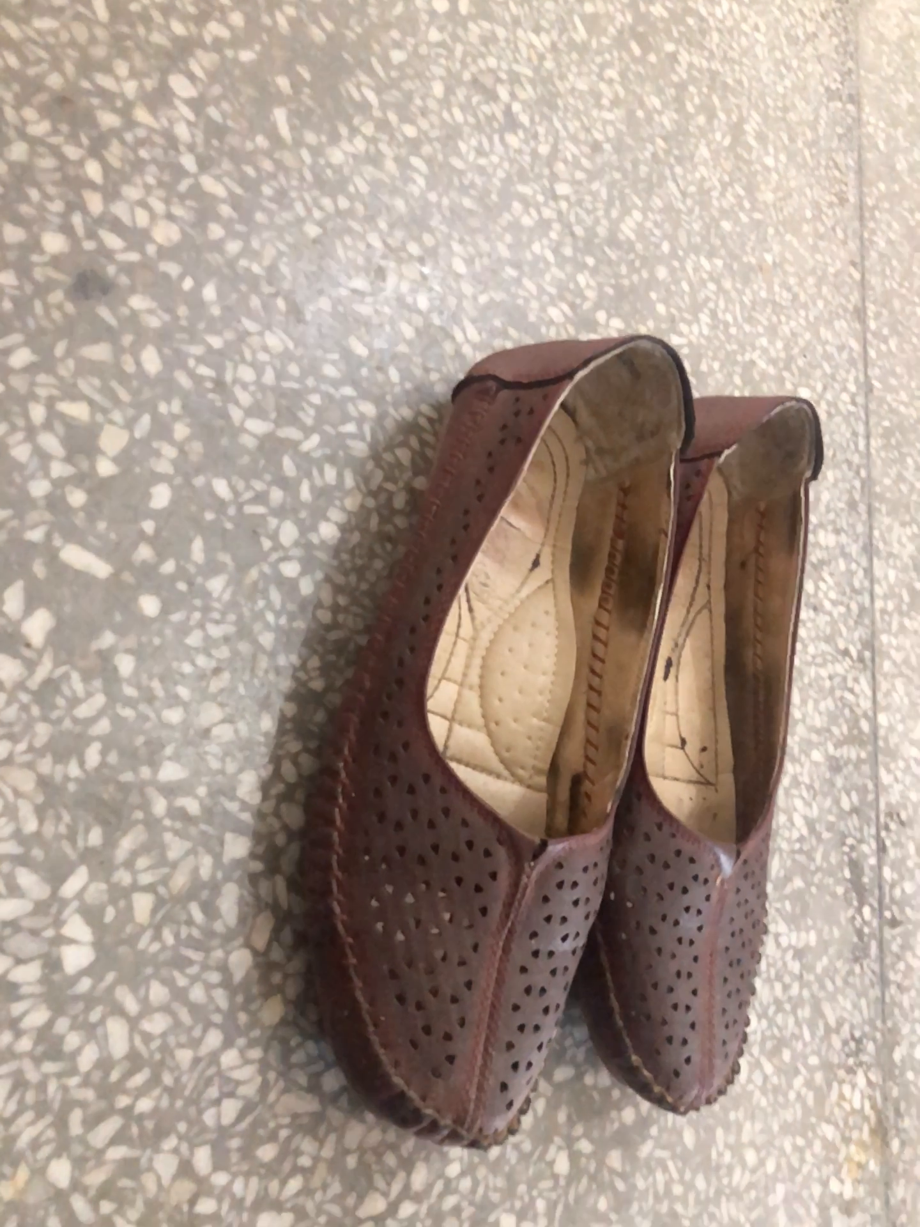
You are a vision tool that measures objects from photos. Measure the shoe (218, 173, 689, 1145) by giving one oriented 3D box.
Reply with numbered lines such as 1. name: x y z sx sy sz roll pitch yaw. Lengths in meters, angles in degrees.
1. shoe: 0.008 0.010 0.298 0.090 0.060 0.250 21 66 -33

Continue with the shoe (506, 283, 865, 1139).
1. shoe: 0.076 0.029 0.341 0.090 0.060 0.250 17 68 -35
